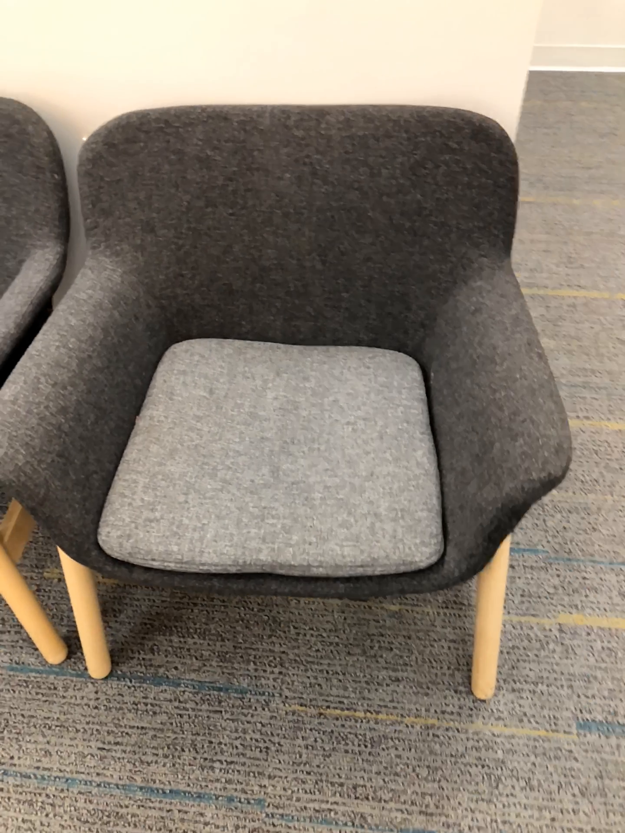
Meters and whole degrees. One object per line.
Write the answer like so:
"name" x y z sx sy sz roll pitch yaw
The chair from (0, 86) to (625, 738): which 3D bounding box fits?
"chair" -0.014 0.002 1.223 0.740 0.834 0.735 5 48 6
